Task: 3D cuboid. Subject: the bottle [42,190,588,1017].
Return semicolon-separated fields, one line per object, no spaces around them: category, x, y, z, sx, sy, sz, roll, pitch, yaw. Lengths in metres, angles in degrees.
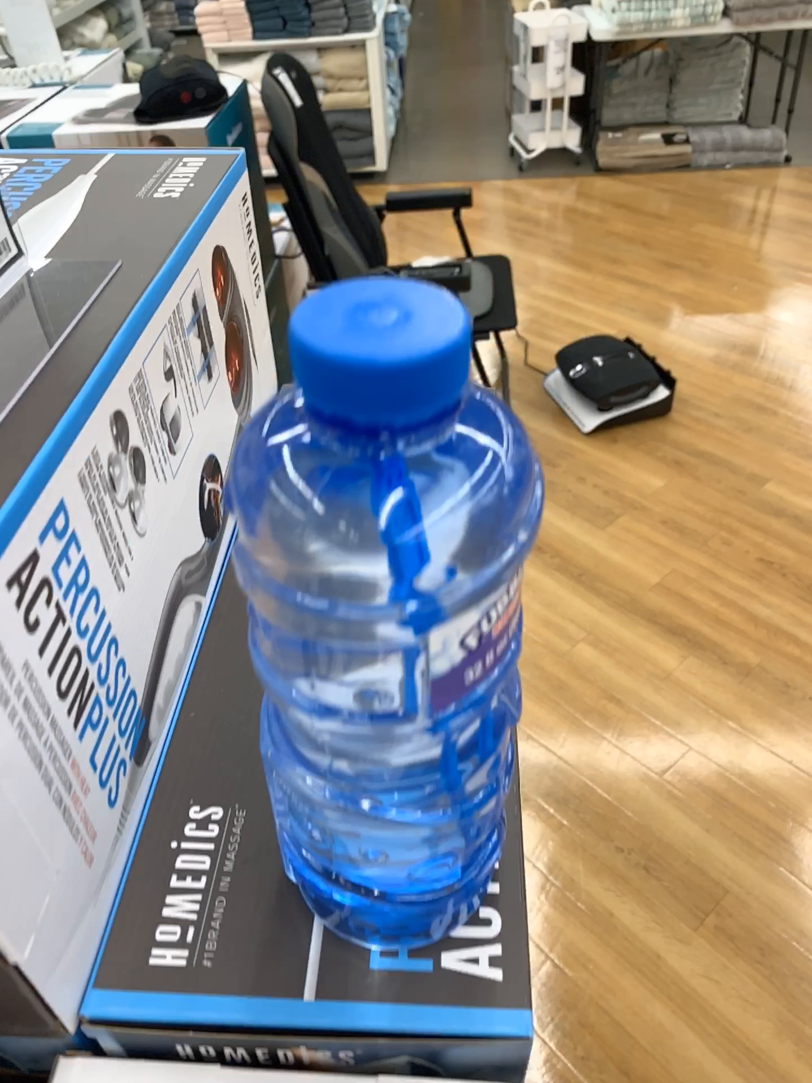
bottle;-0.008;0.037;0.251;0.081;0.243;0.081;-3;41;2
